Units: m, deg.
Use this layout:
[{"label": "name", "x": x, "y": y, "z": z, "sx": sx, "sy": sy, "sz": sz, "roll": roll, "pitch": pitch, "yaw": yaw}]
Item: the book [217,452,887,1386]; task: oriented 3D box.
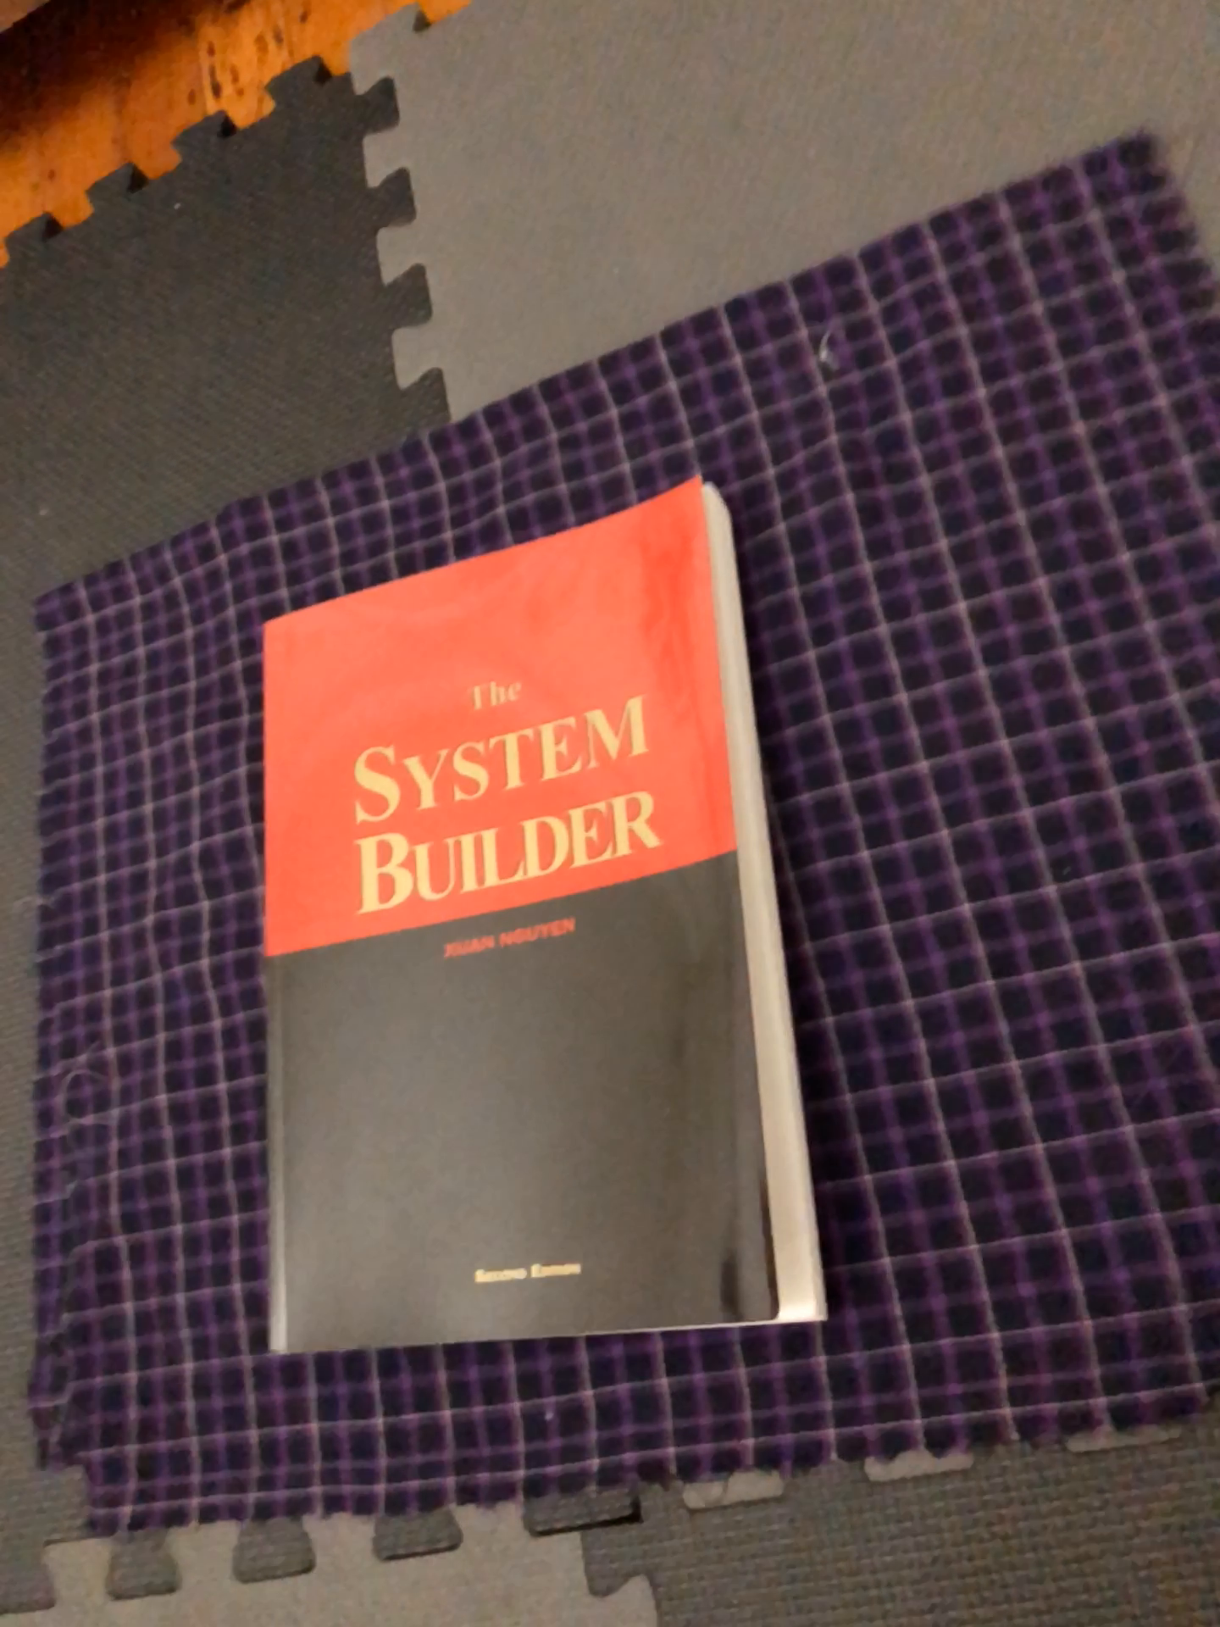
[{"label": "book", "x": -0.033, "y": 0.035, "z": 0.430, "sx": 0.200, "sy": 0.030, "sz": 0.261, "roll": -13, "pitch": 69, "yaw": 22}]
